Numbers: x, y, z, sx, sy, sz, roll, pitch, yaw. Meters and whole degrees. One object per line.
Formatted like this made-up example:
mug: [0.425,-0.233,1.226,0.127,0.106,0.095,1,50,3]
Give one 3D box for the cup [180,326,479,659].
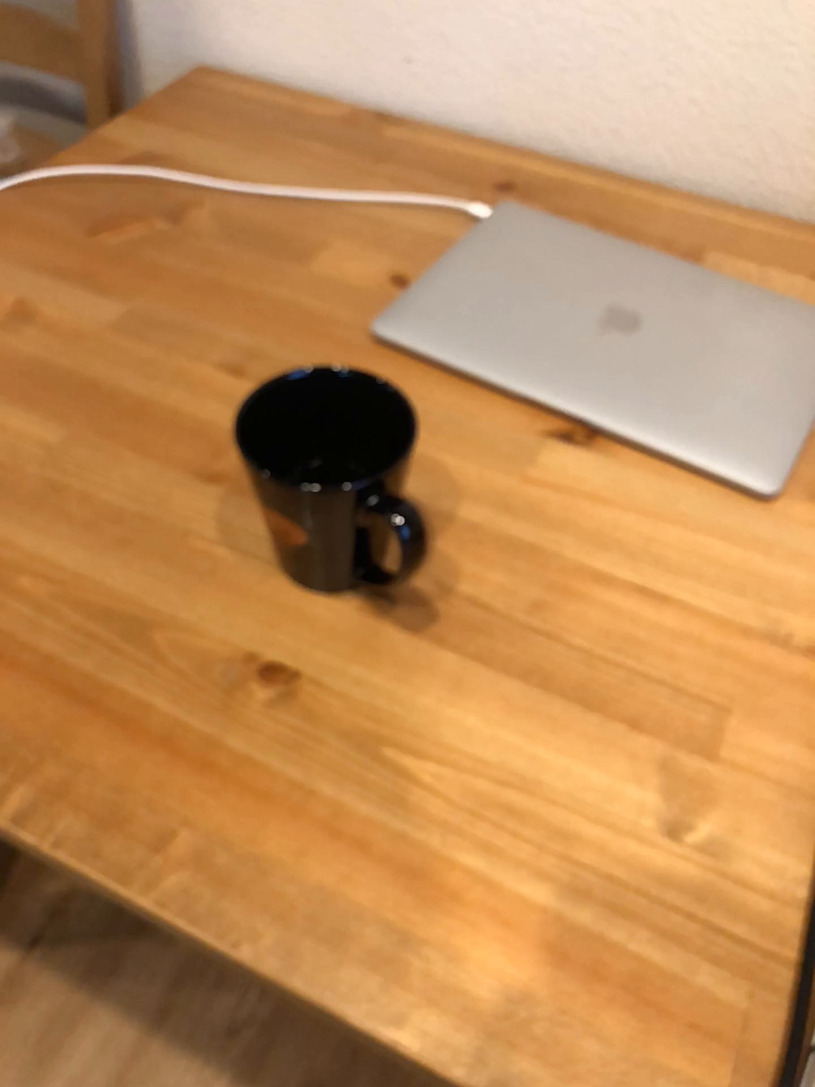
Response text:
cup: [-0.040,-0.029,0.475,0.090,0.090,0.120,-29,55,-25]
